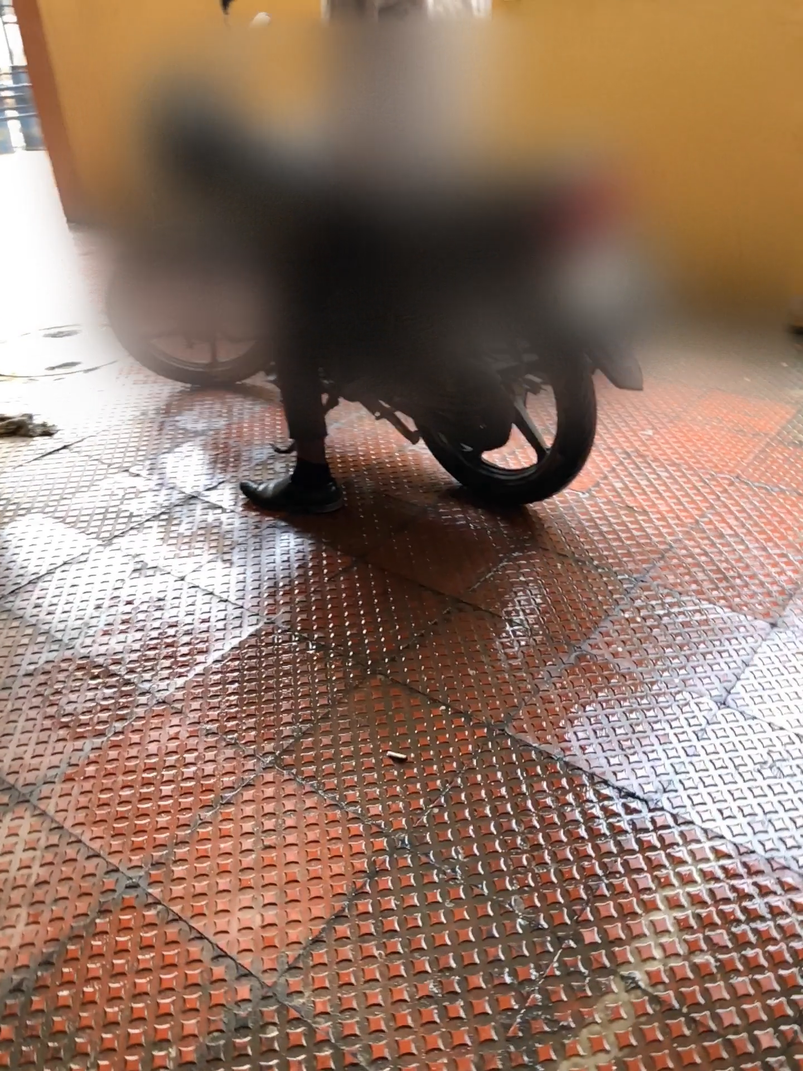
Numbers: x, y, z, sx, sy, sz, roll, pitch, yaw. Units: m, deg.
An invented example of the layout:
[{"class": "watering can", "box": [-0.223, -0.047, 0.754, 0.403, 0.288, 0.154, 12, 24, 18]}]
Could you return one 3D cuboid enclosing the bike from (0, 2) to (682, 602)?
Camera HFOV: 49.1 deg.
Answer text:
[{"class": "bike", "box": [-0.382, -0.770, 2.519, 1.876, 1.185, 0.814, 19, 39, 32]}]
